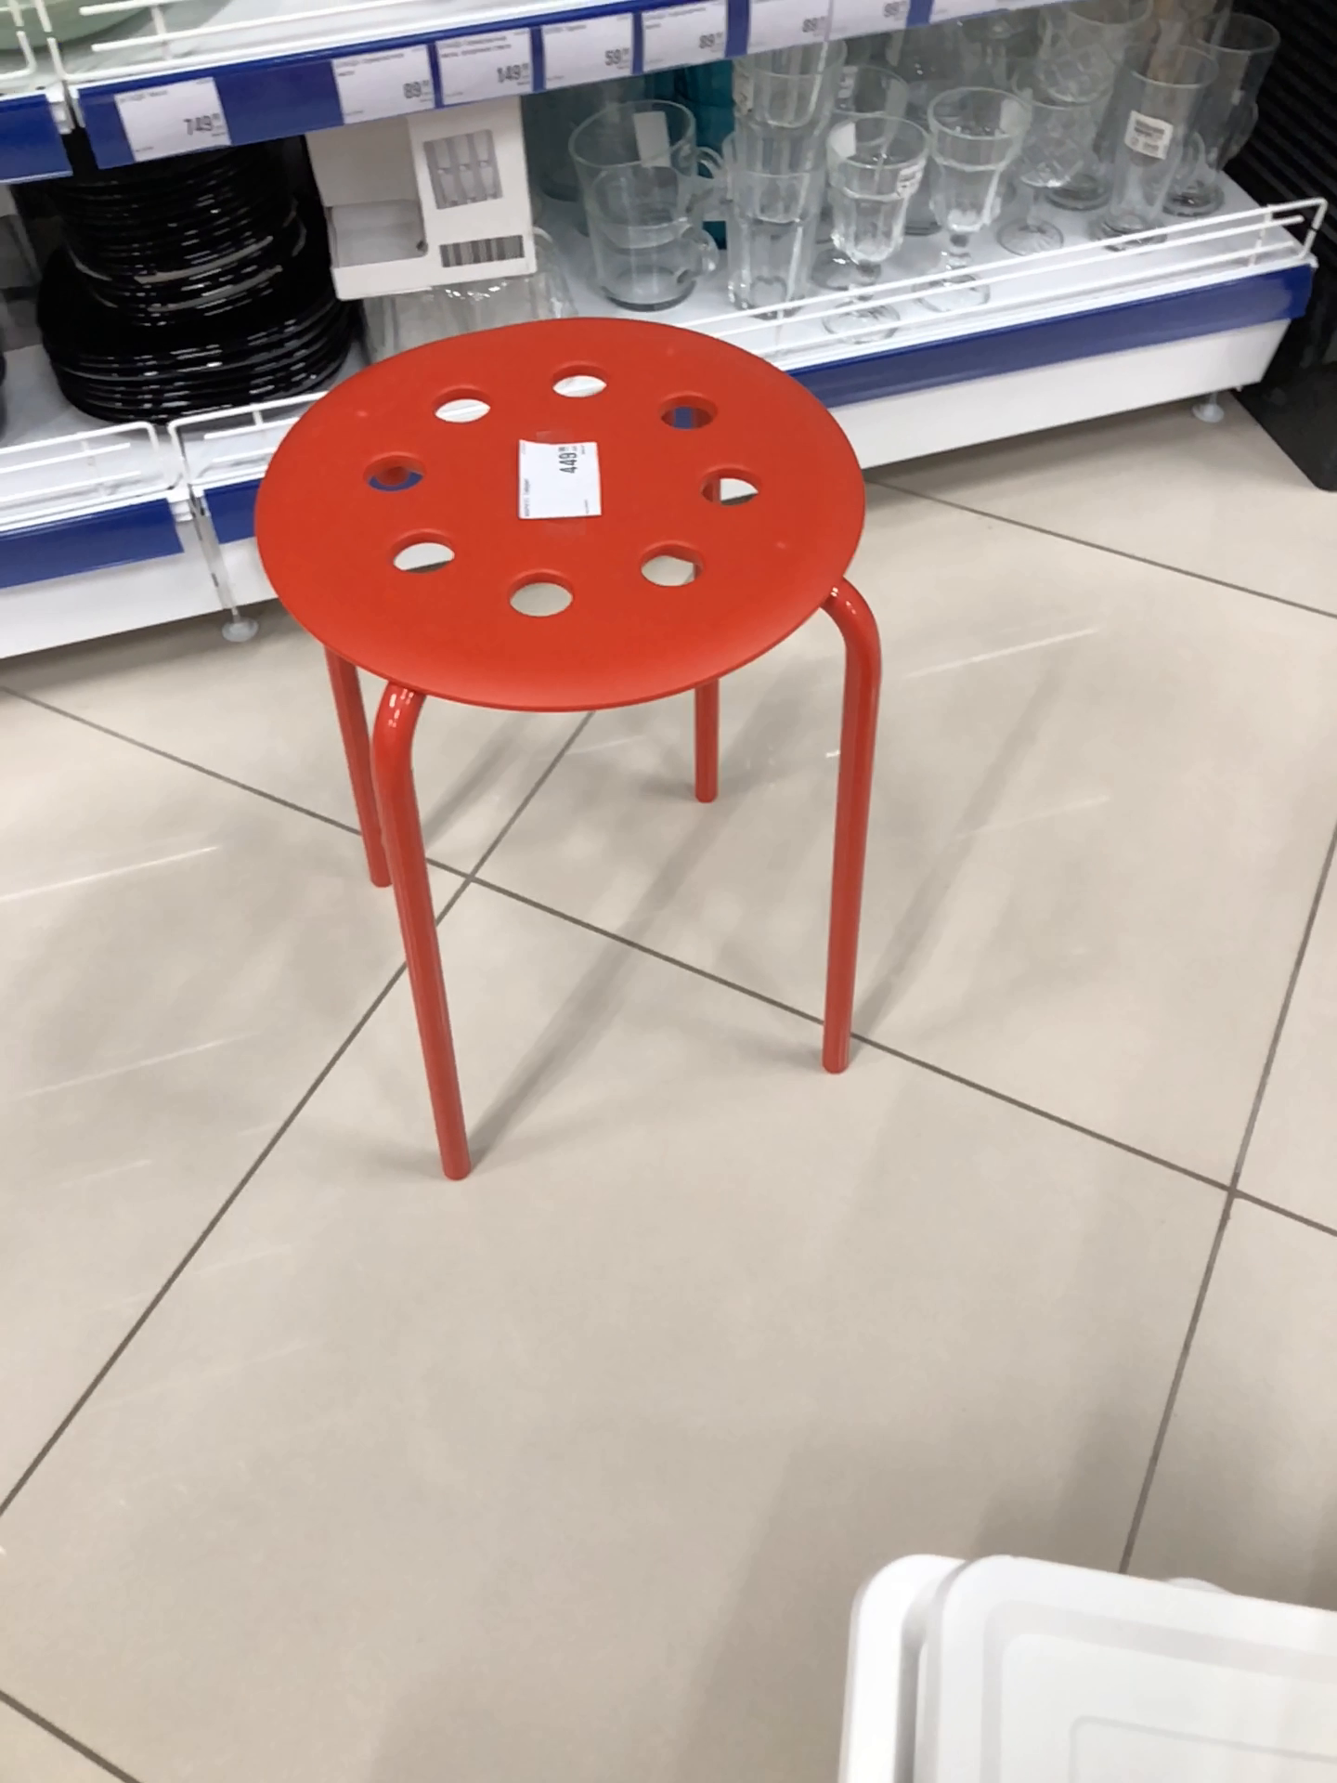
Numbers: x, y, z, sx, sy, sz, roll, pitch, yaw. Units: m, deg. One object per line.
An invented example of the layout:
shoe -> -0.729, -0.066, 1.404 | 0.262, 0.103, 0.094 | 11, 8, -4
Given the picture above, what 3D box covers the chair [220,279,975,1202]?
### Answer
chair -> -0.051, -0.082, 0.906 | 0.313, 0.405, 0.322 | -14, 53, -10
